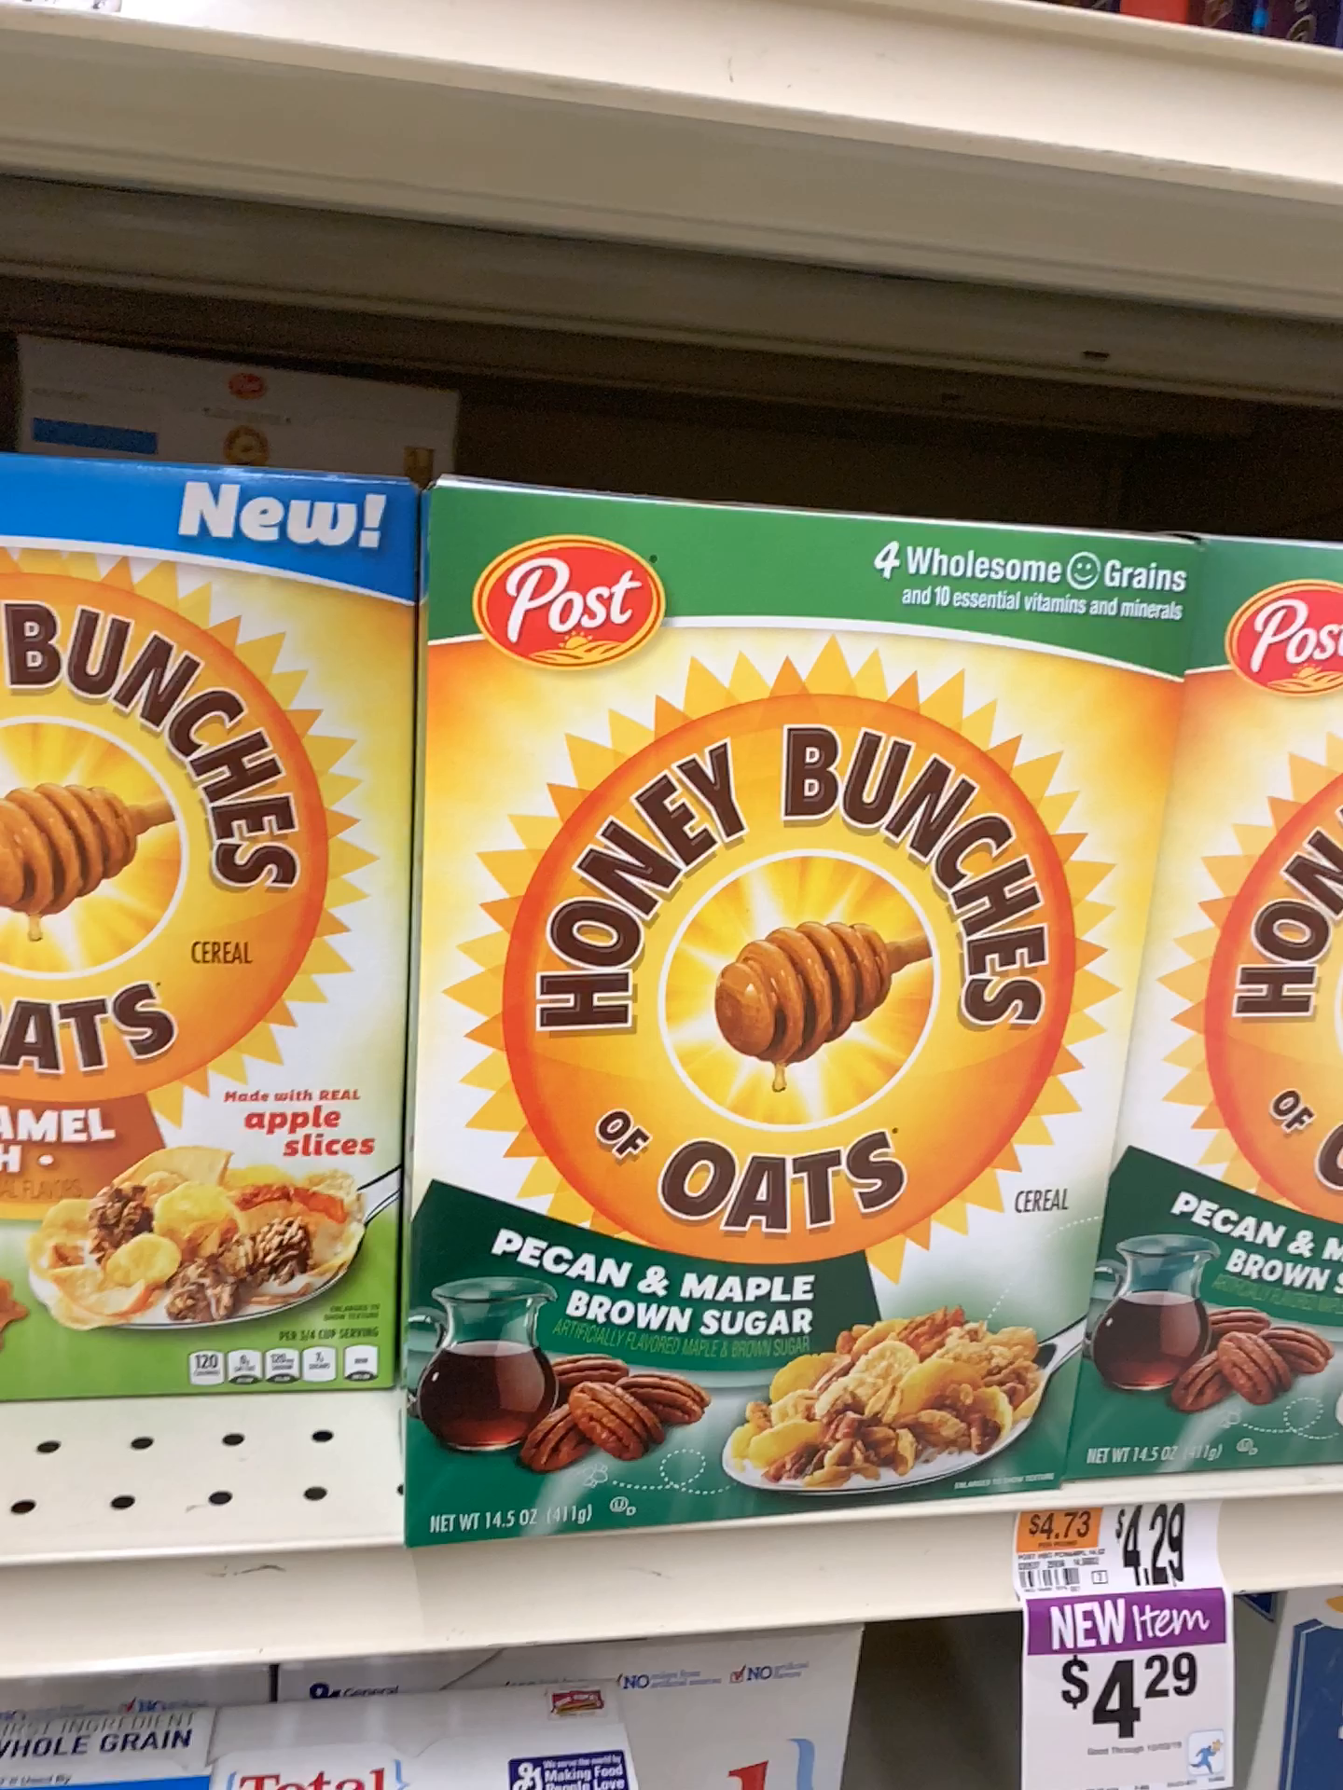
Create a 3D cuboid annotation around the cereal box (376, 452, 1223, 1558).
[{"bbox_3d":[0.024,0.033,0.383,0.200,0.279,0.060,1,14,-14],"label":"cereal box"}]
